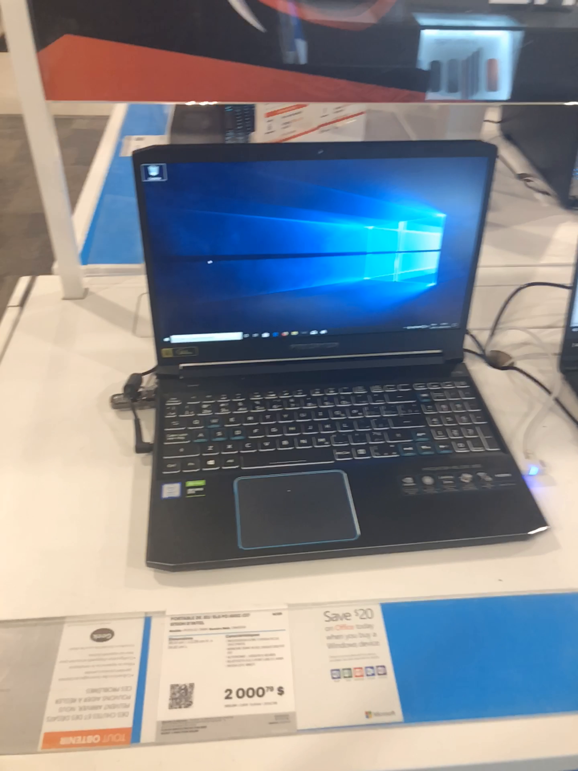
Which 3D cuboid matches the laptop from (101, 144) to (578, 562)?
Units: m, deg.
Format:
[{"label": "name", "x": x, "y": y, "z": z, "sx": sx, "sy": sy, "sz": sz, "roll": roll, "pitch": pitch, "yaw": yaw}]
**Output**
[{"label": "laptop", "x": 0.044, "y": -0.043, "z": 0.570, "sx": 0.348, "sy": 0.230, "sz": 0.274, "roll": -3, "pitch": 42, "yaw": -5}]
